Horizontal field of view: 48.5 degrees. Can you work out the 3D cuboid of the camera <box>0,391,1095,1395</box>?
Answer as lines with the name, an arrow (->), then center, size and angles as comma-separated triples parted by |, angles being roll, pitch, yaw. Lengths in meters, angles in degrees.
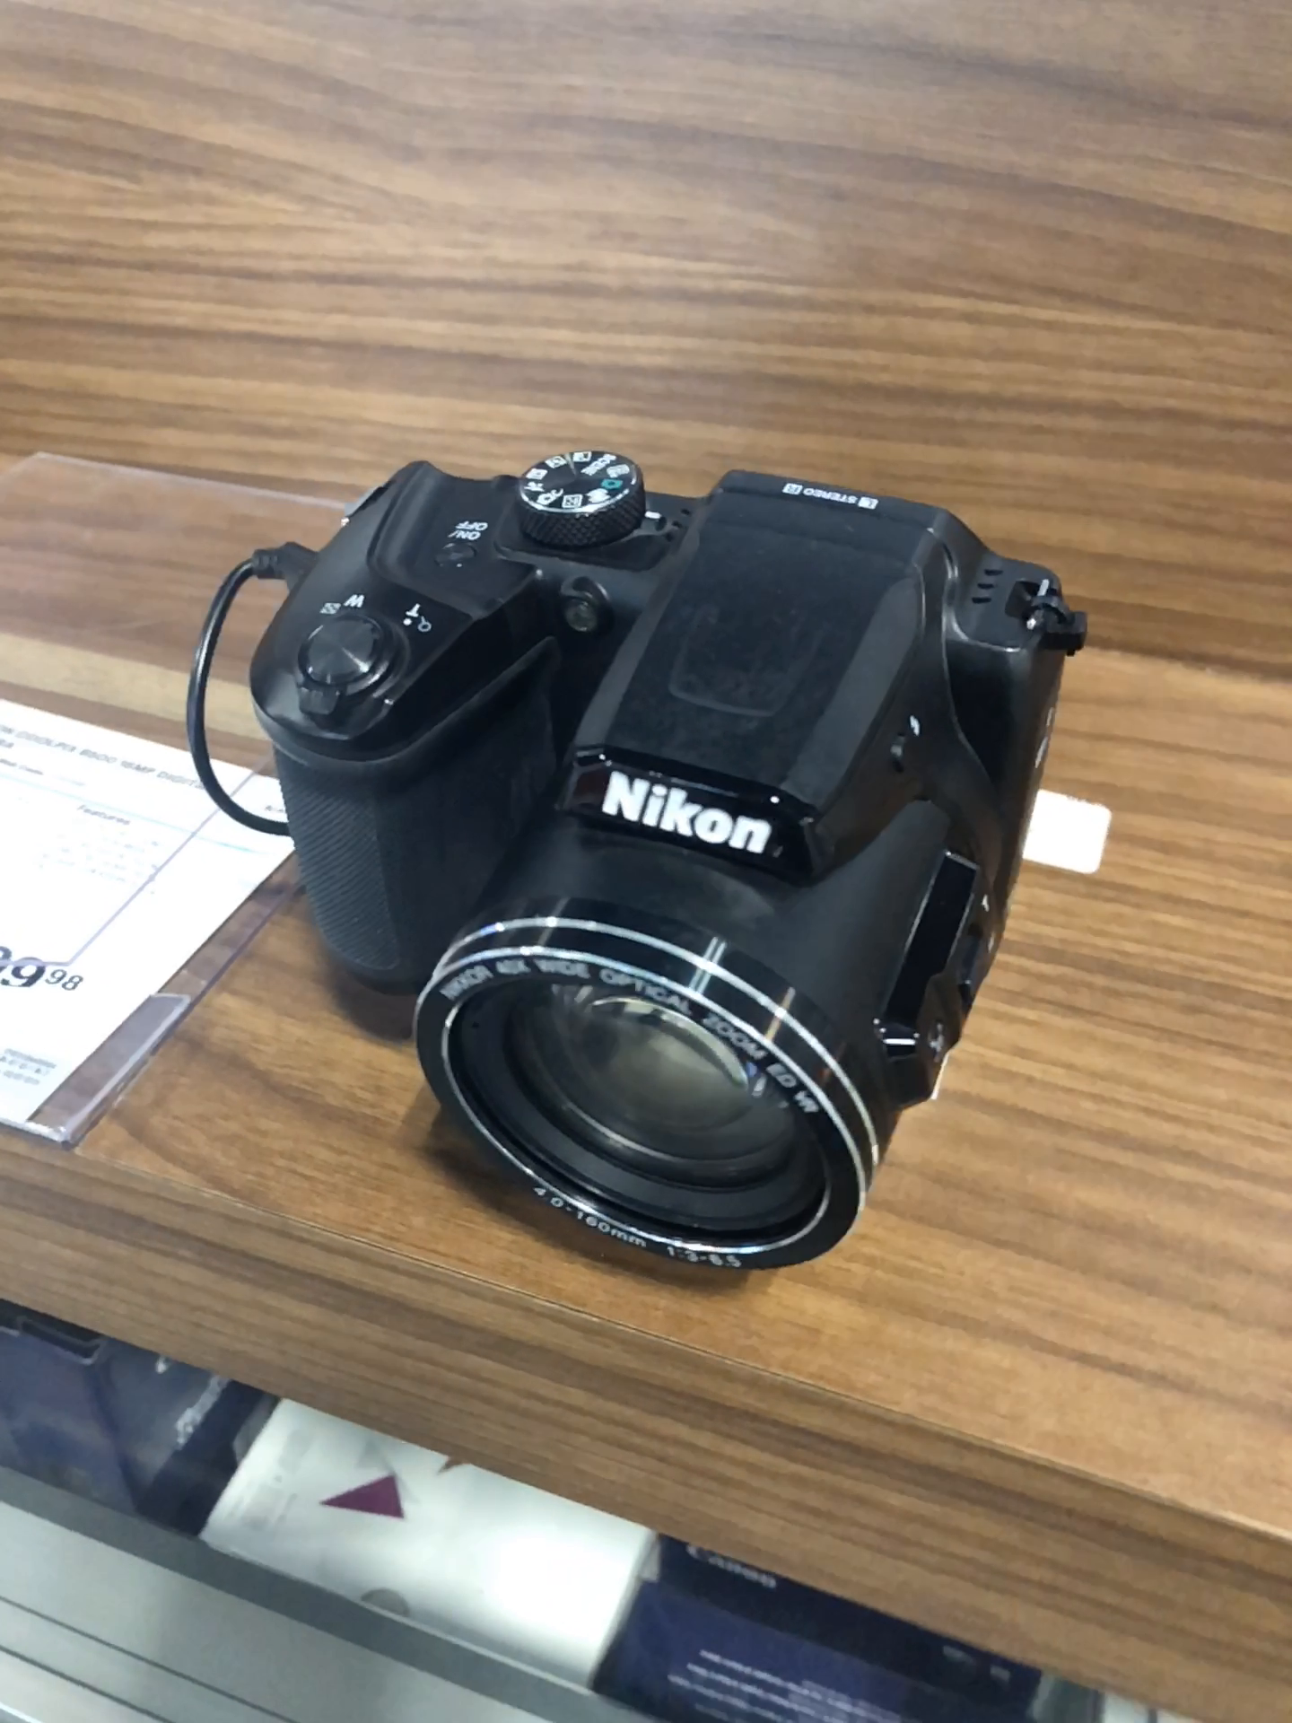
camera -> -0.005, -0.005, 0.206 | 0.110, 0.079, 0.096 | 14, 39, 15
